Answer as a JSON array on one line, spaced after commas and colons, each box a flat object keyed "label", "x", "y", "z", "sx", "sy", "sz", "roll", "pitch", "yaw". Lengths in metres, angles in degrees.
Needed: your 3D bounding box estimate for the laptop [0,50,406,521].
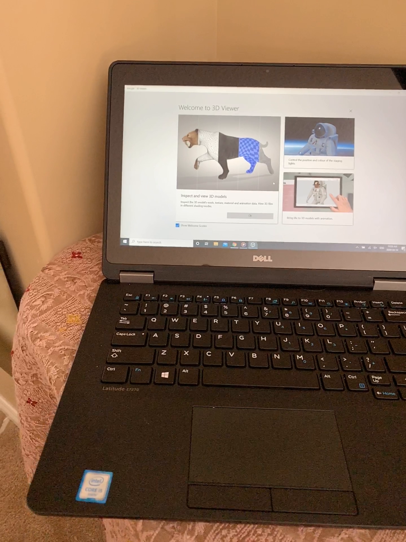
[{"label": "laptop", "x": 0.068, "y": -0.045, "z": 0.390, "sx": 0.365, "sy": 0.186, "sz": 0.424, "roll": 1, "pitch": 41, "yaw": 2}]
